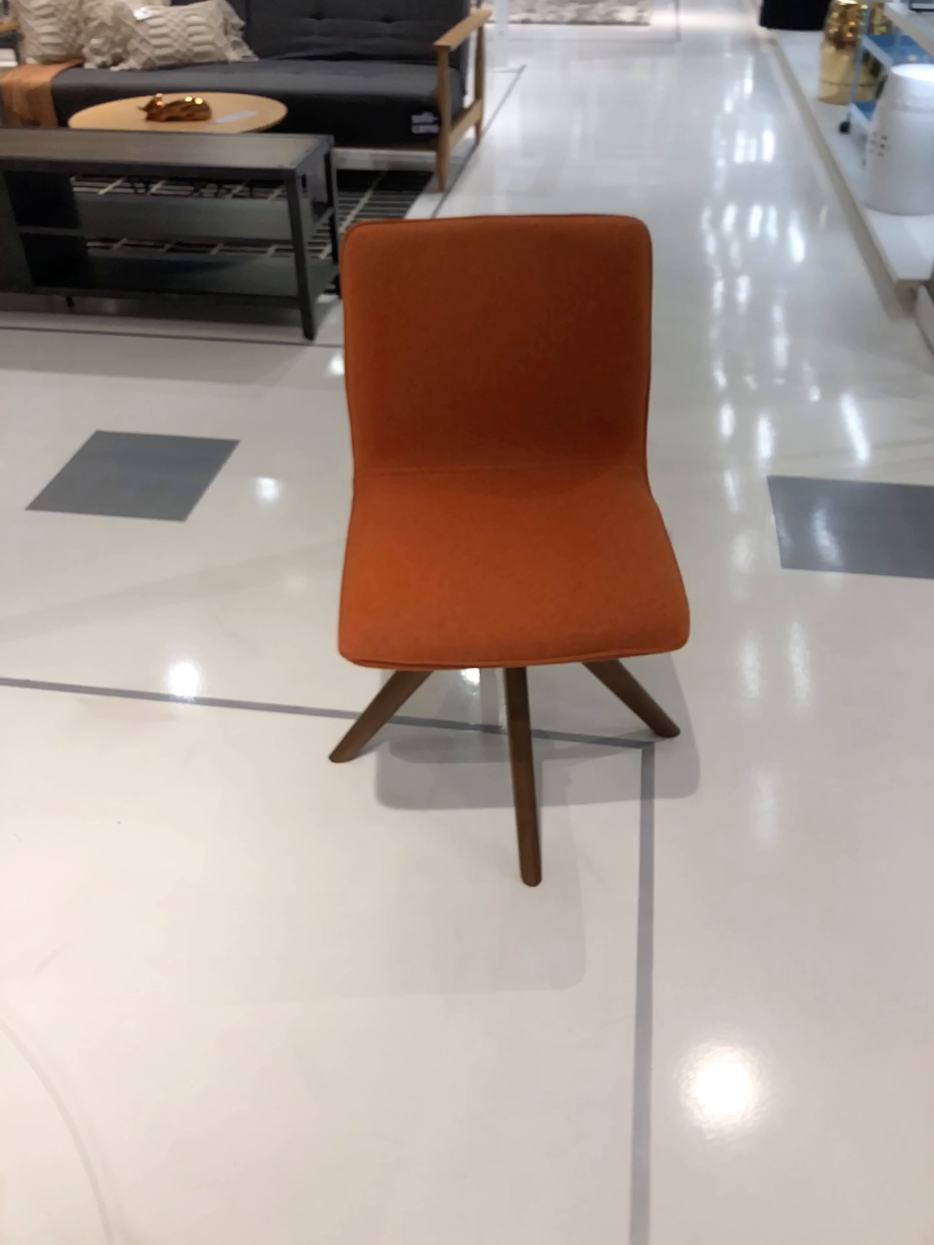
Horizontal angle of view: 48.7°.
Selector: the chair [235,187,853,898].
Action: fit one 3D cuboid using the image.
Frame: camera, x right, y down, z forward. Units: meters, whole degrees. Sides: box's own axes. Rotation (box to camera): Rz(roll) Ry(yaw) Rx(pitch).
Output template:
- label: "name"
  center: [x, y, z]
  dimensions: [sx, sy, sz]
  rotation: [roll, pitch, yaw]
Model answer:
- label: "chair"
  center: [0.069, -0.122, 1.497]
  dimensions: [0.610, 0.794, 0.615]
  rotation: [-3, 37, -2]
